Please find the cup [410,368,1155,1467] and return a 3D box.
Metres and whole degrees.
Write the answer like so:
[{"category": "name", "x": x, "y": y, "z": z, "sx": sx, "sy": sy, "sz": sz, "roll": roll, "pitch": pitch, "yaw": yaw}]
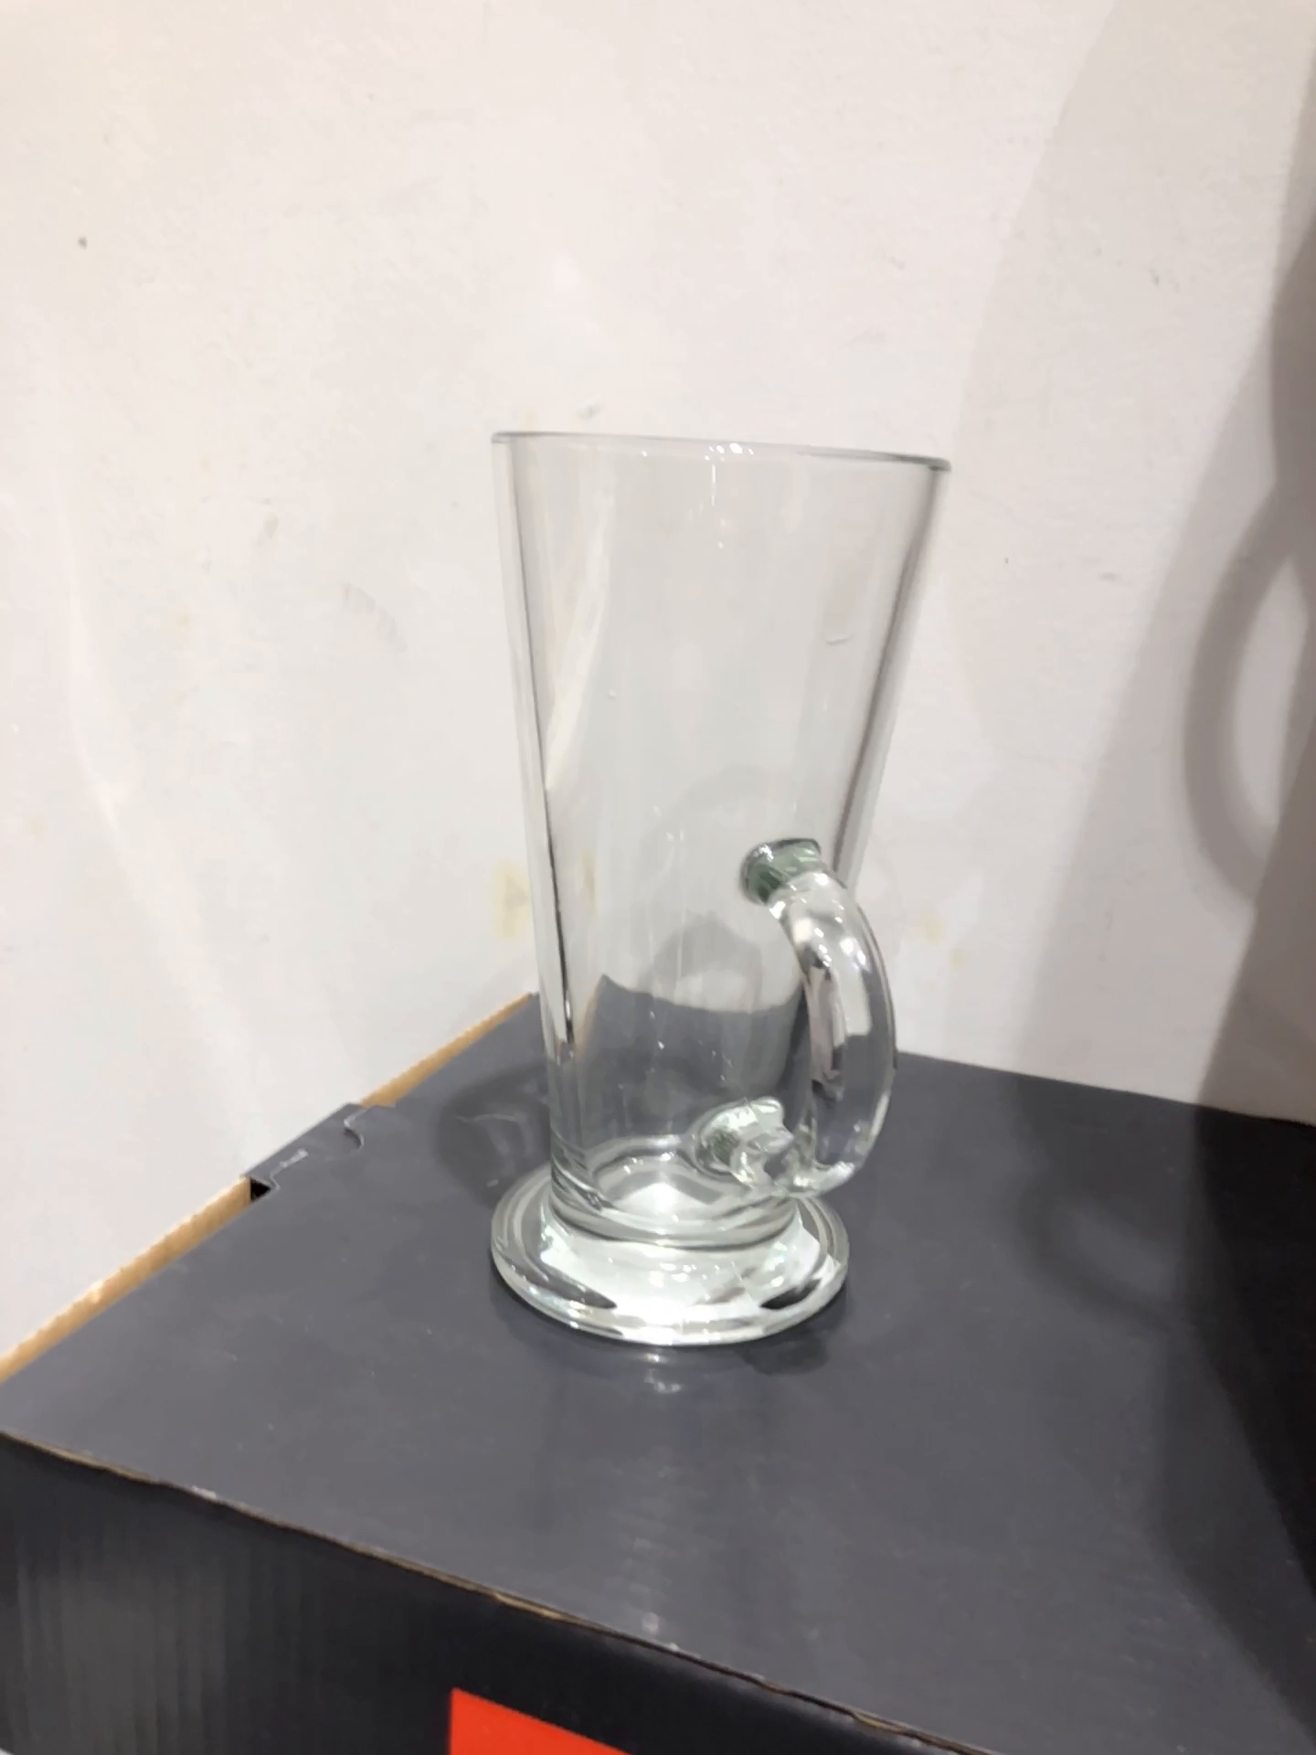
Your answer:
[{"category": "cup", "x": 0.012, "y": -0.003, "z": 0.246, "sx": 0.080, "sy": 0.149, "sz": 0.090, "roll": -6, "pitch": 18, "yaw": -26}]
